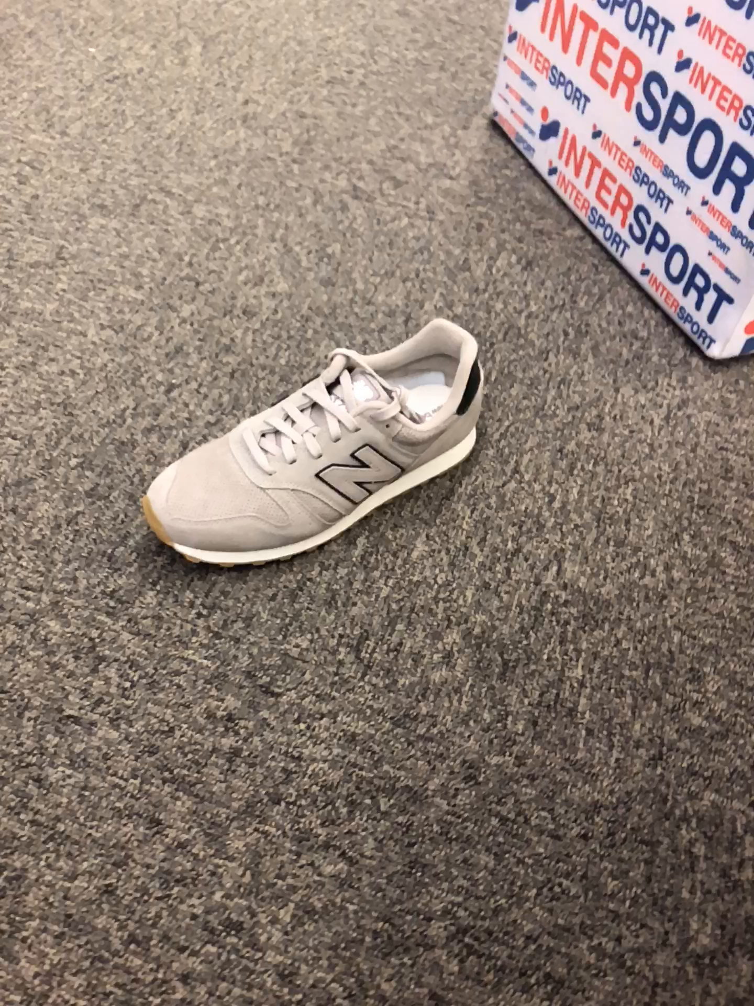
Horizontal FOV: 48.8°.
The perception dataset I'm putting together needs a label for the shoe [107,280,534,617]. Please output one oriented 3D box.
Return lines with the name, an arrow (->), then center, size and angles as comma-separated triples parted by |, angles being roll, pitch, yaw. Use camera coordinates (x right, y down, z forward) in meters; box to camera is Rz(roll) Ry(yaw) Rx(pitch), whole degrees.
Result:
shoe -> -0.033, -0.045, 0.579 | 0.261, 0.109, 0.100 | -25, 58, -23
